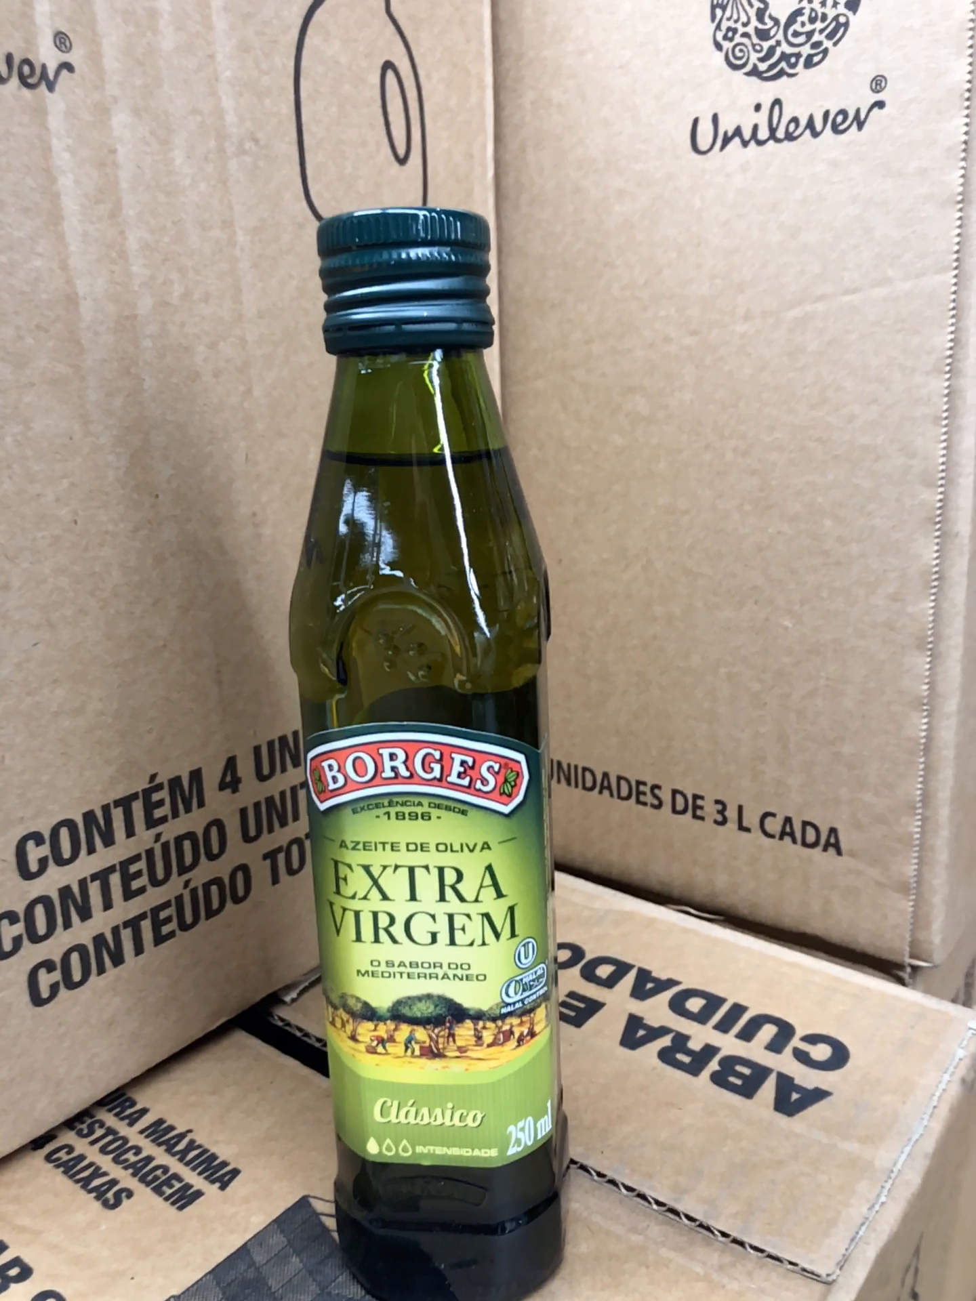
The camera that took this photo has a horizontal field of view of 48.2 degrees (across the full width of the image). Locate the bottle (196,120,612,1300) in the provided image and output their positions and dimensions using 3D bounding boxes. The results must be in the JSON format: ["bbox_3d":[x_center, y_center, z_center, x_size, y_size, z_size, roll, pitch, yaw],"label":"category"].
[{"bbox_3d":[-0.010,0.023,0.212,0.060,0.219,0.060,0,14,0],"label":"bottle"}]
